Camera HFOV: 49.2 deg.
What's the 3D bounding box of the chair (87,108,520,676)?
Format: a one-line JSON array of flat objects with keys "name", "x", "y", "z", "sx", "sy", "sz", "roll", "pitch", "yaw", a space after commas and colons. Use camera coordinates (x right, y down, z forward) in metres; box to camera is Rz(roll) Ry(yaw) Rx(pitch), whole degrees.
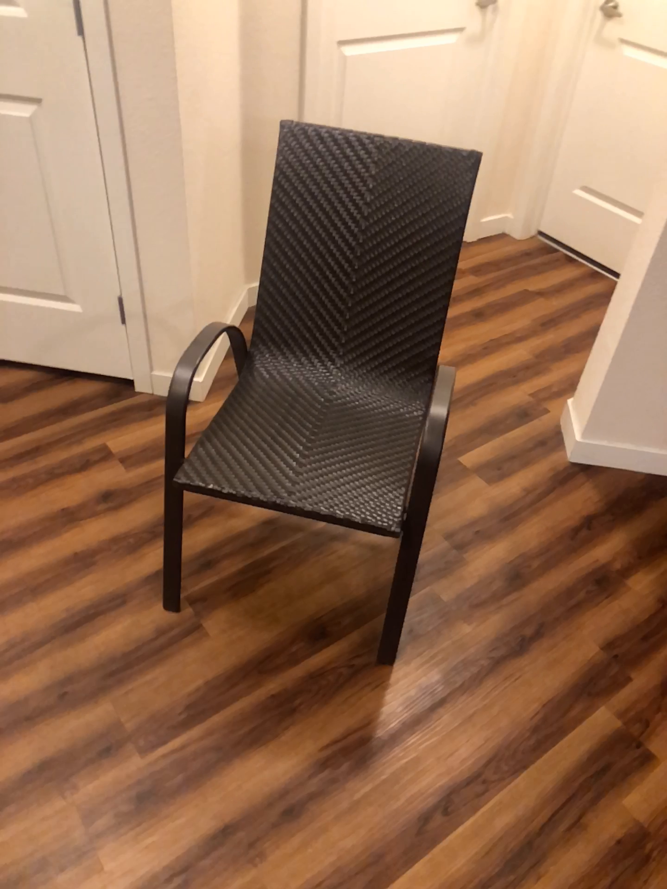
[{"name": "chair", "x": -0.012, "y": -0.130, "z": 1.576, "sx": 0.597, "sy": 0.852, "sz": 0.751, "roll": 12, "pitch": 41, "yaw": 7}]
